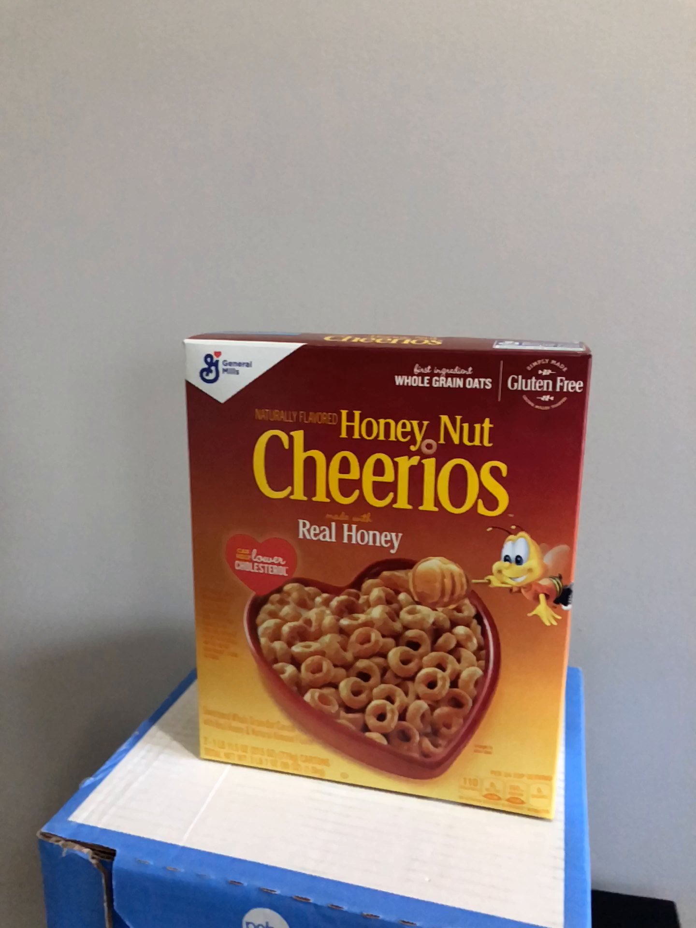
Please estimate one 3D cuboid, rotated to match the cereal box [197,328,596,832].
[{"bbox_3d":[0.030,0.069,0.528,0.240,0.309,0.080,4,14,14],"label":"cereal box"}]
